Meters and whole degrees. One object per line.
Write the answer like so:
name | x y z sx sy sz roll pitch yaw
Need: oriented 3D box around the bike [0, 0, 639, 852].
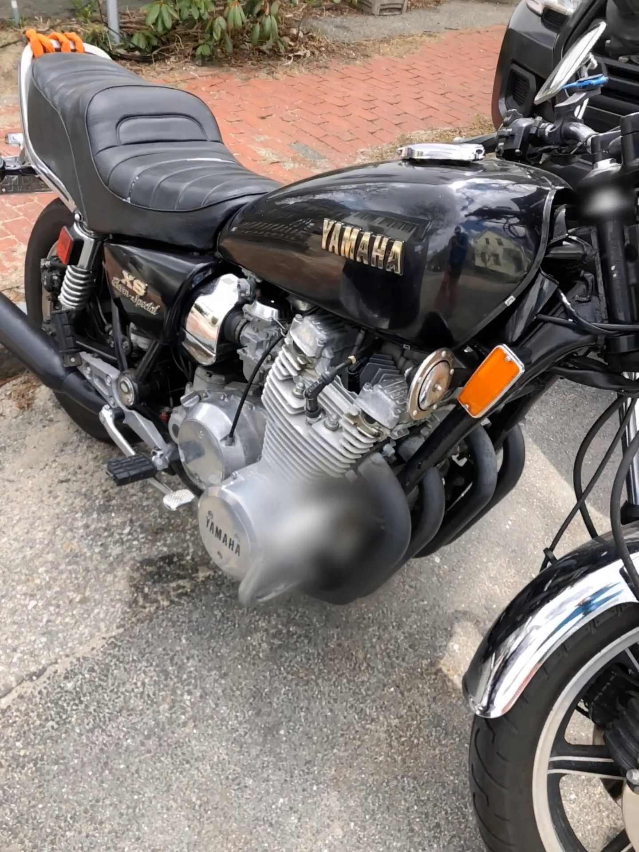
bike | 0.129 -0.136 1.201 1.970 1.158 0.712 32 44 27
